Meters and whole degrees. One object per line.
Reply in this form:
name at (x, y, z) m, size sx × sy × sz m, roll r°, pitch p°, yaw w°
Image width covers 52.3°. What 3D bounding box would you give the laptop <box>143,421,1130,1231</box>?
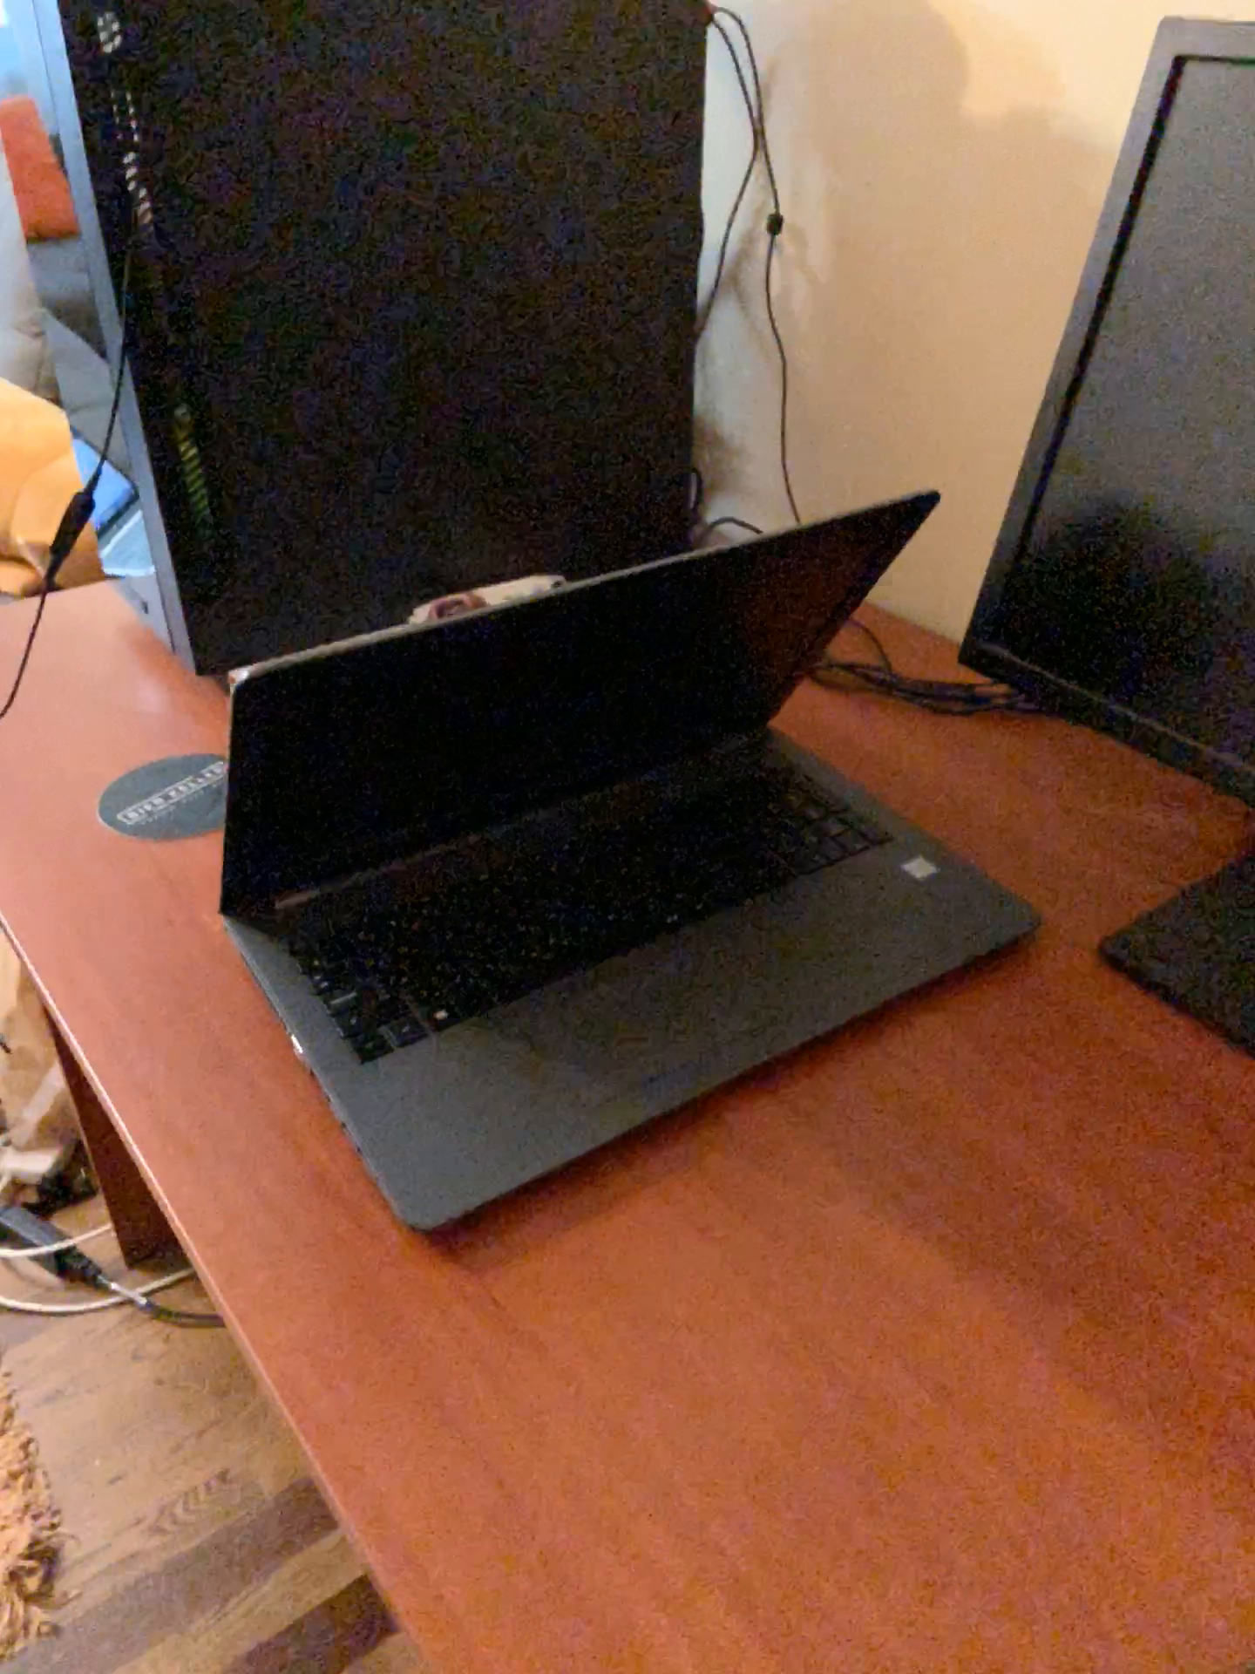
laptop at (0.003, -0.041, 0.640) m, size 0.375 × 0.207 × 0.250 m, roll -20°, pitch 39°, yaw -26°
